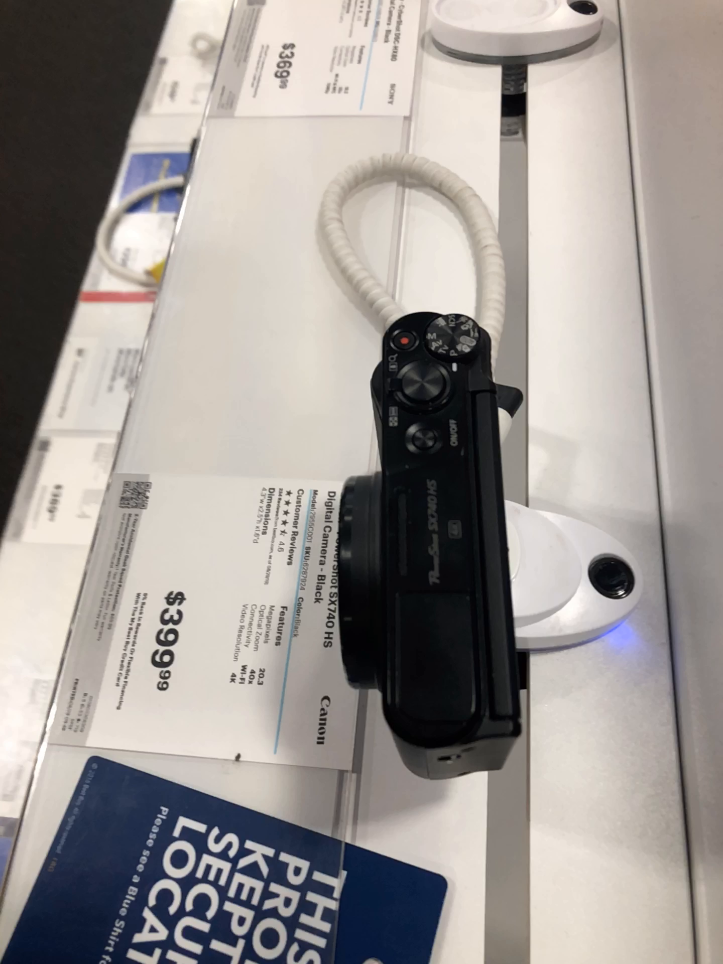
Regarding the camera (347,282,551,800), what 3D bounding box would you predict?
[{"bbox_3d":[0.021,0.017,0.217,0.040,0.070,0.120,-2,62,5],"label":"camera"}]
